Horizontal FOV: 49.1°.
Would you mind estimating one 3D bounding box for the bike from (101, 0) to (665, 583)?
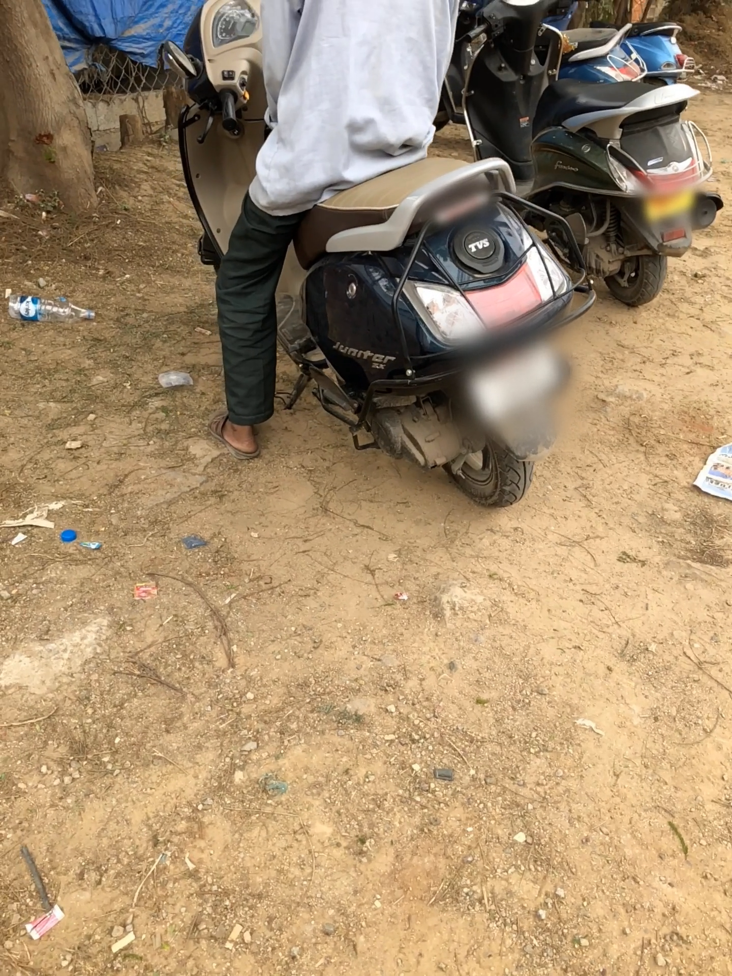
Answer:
[{"bbox_3d":[-0.072,-0.787,1.998,0.636,1.119,1.346,-15,42,-24],"label":"bike"}]
